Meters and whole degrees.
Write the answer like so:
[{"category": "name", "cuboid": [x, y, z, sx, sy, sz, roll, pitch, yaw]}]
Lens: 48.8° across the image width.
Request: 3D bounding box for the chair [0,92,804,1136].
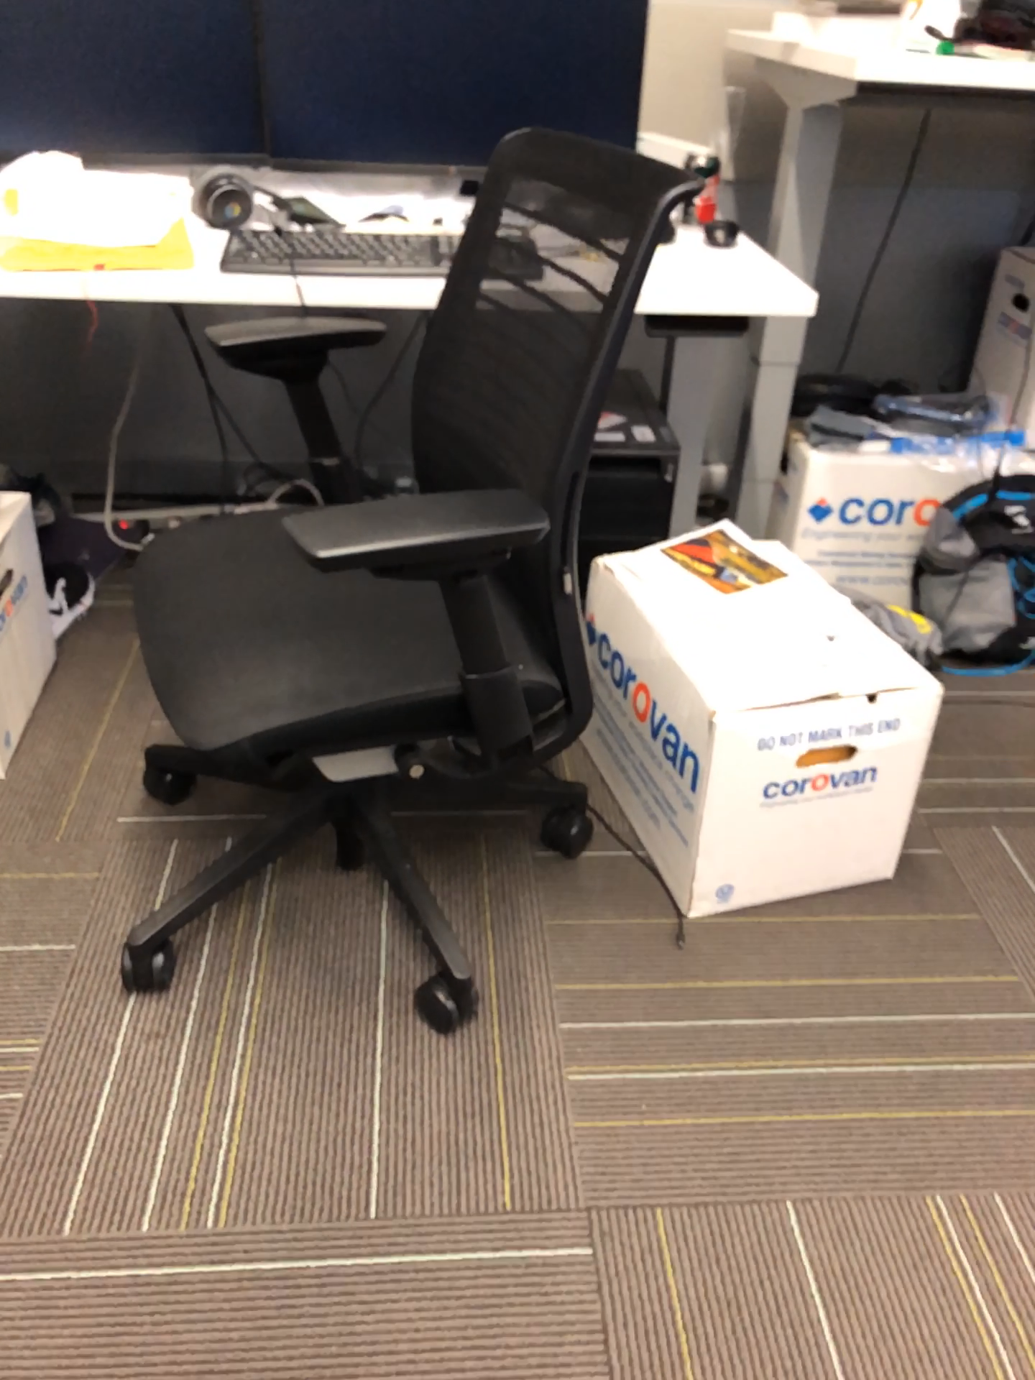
[{"category": "chair", "cuboid": [-0.235, -0.169, 1.470, 0.701, 0.994, 0.784, -10, 34, -20]}]
